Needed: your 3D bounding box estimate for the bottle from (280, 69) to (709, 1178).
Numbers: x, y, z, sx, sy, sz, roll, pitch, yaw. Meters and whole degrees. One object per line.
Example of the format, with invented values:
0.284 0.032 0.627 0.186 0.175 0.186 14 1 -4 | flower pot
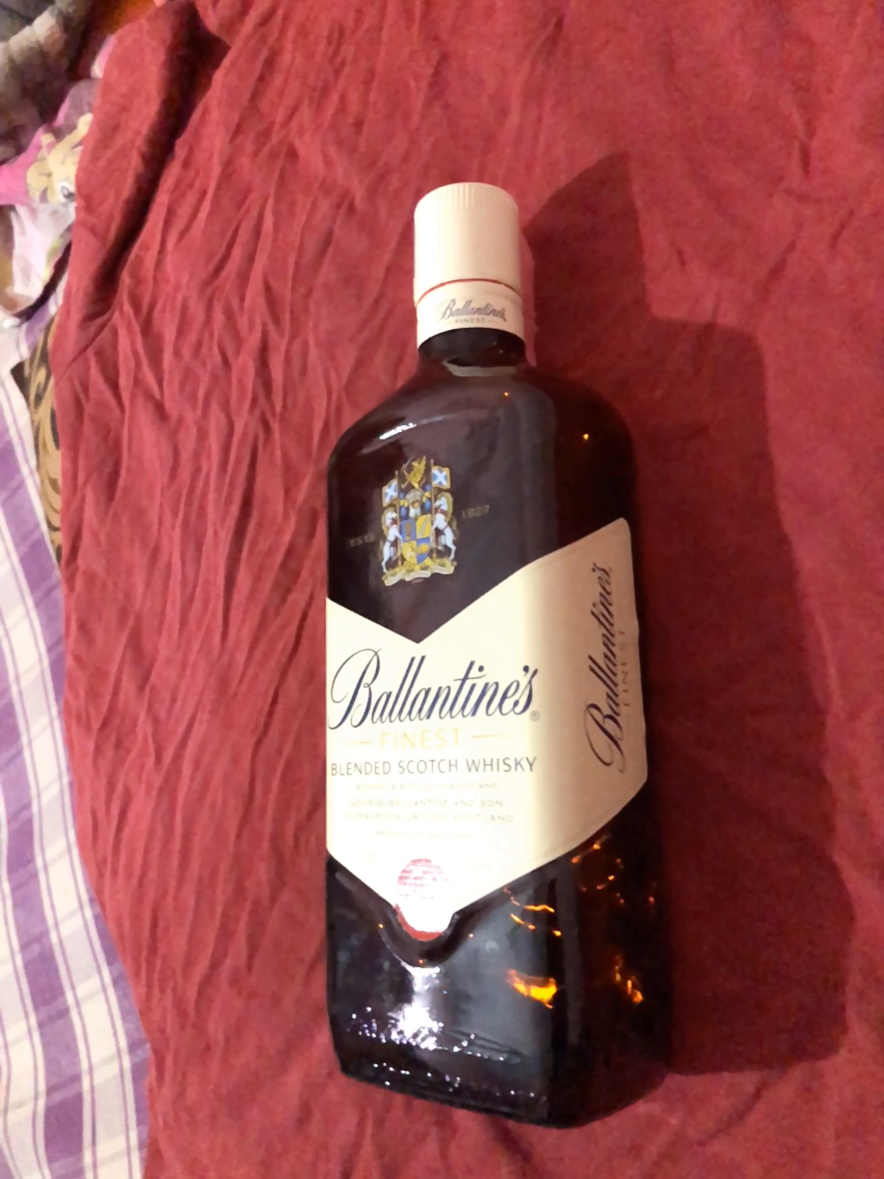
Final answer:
0.008 0.005 0.265 0.090 0.050 0.250 -9 79 36 | bottle
